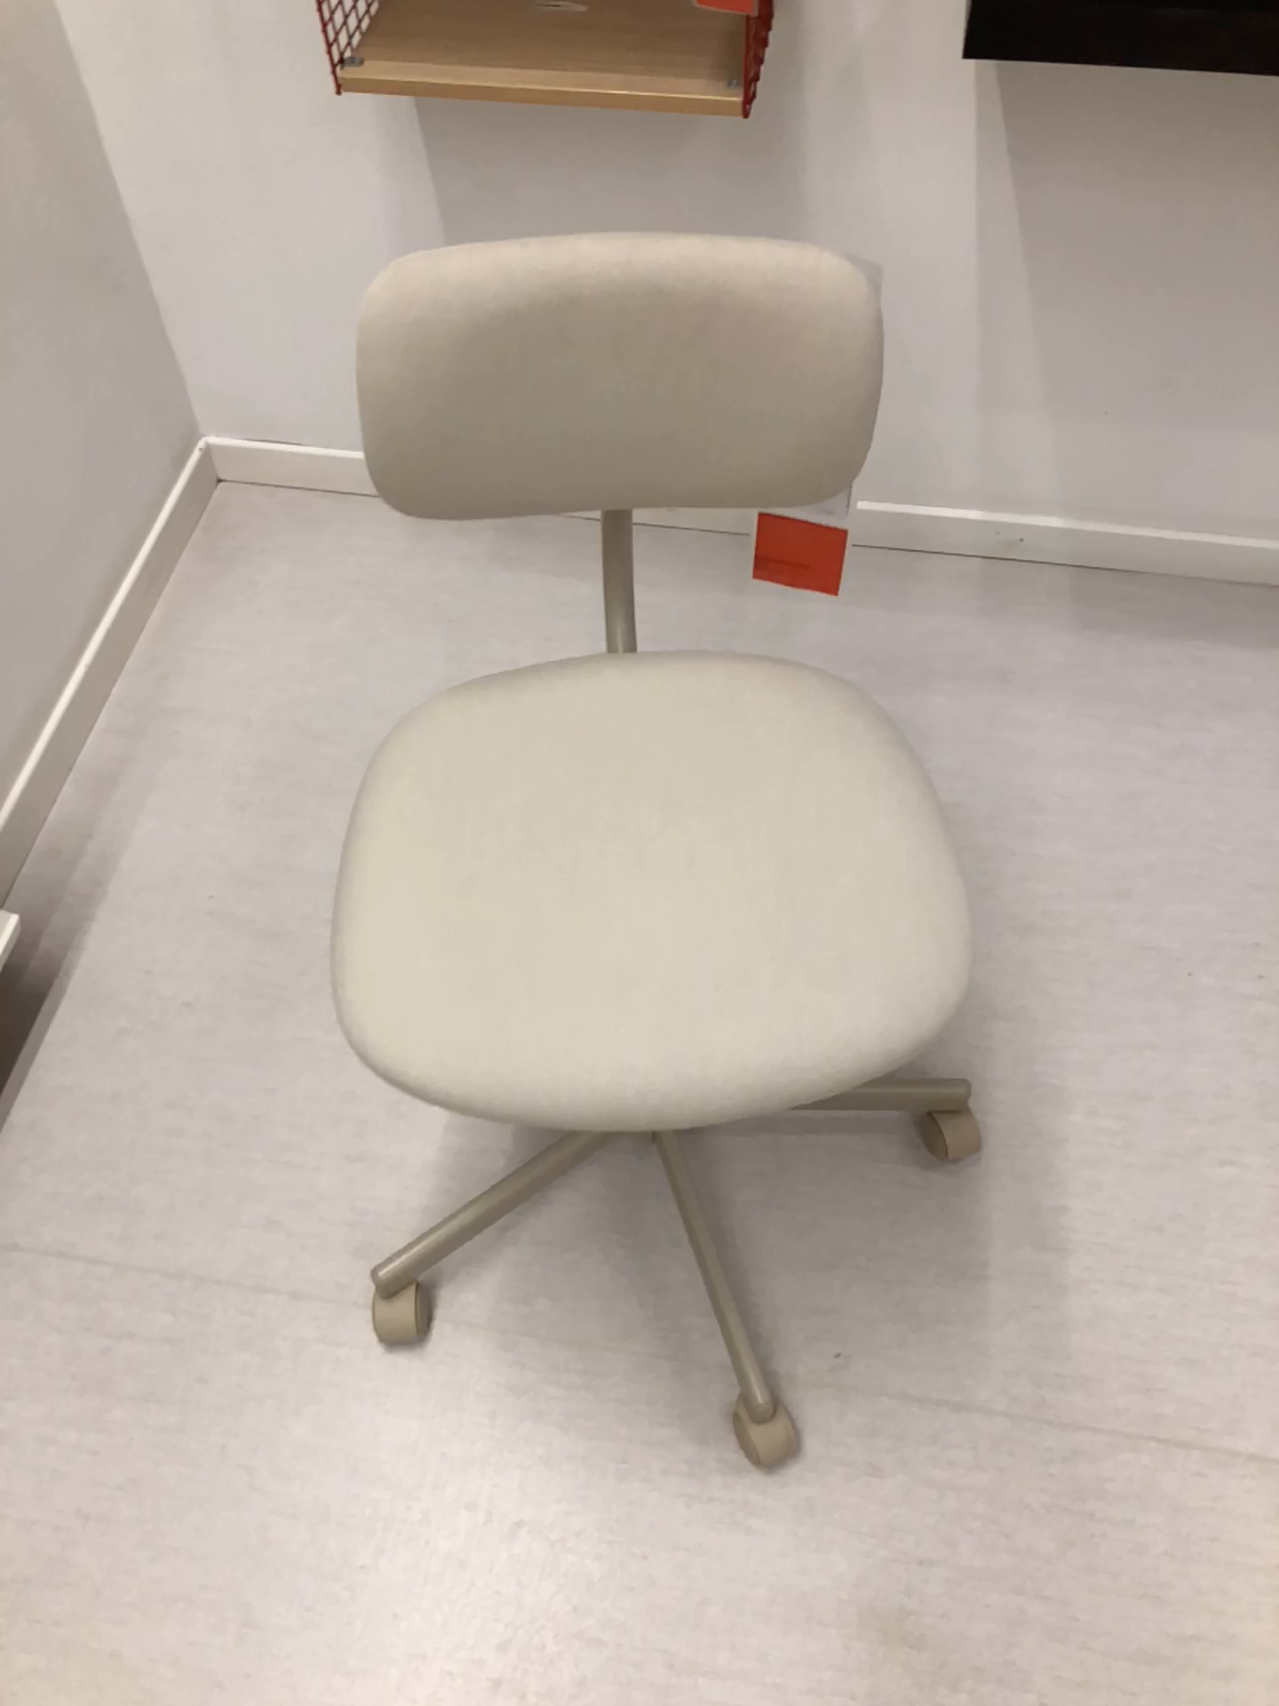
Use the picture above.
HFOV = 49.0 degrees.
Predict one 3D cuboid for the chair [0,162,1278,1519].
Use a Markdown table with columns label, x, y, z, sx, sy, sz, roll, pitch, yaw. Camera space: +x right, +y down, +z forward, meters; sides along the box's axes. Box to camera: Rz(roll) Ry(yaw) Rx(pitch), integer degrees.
| label | x | y | z | sx | sy | sz | roll | pitch | yaw |
| --- | --- | --- | --- | --- | --- | --- | --- | --- | --- |
| chair | 0.017 | 0.044 | 1.083 | 0.640 | 0.767 | 0.693 | -4 | 55 | -1 |
